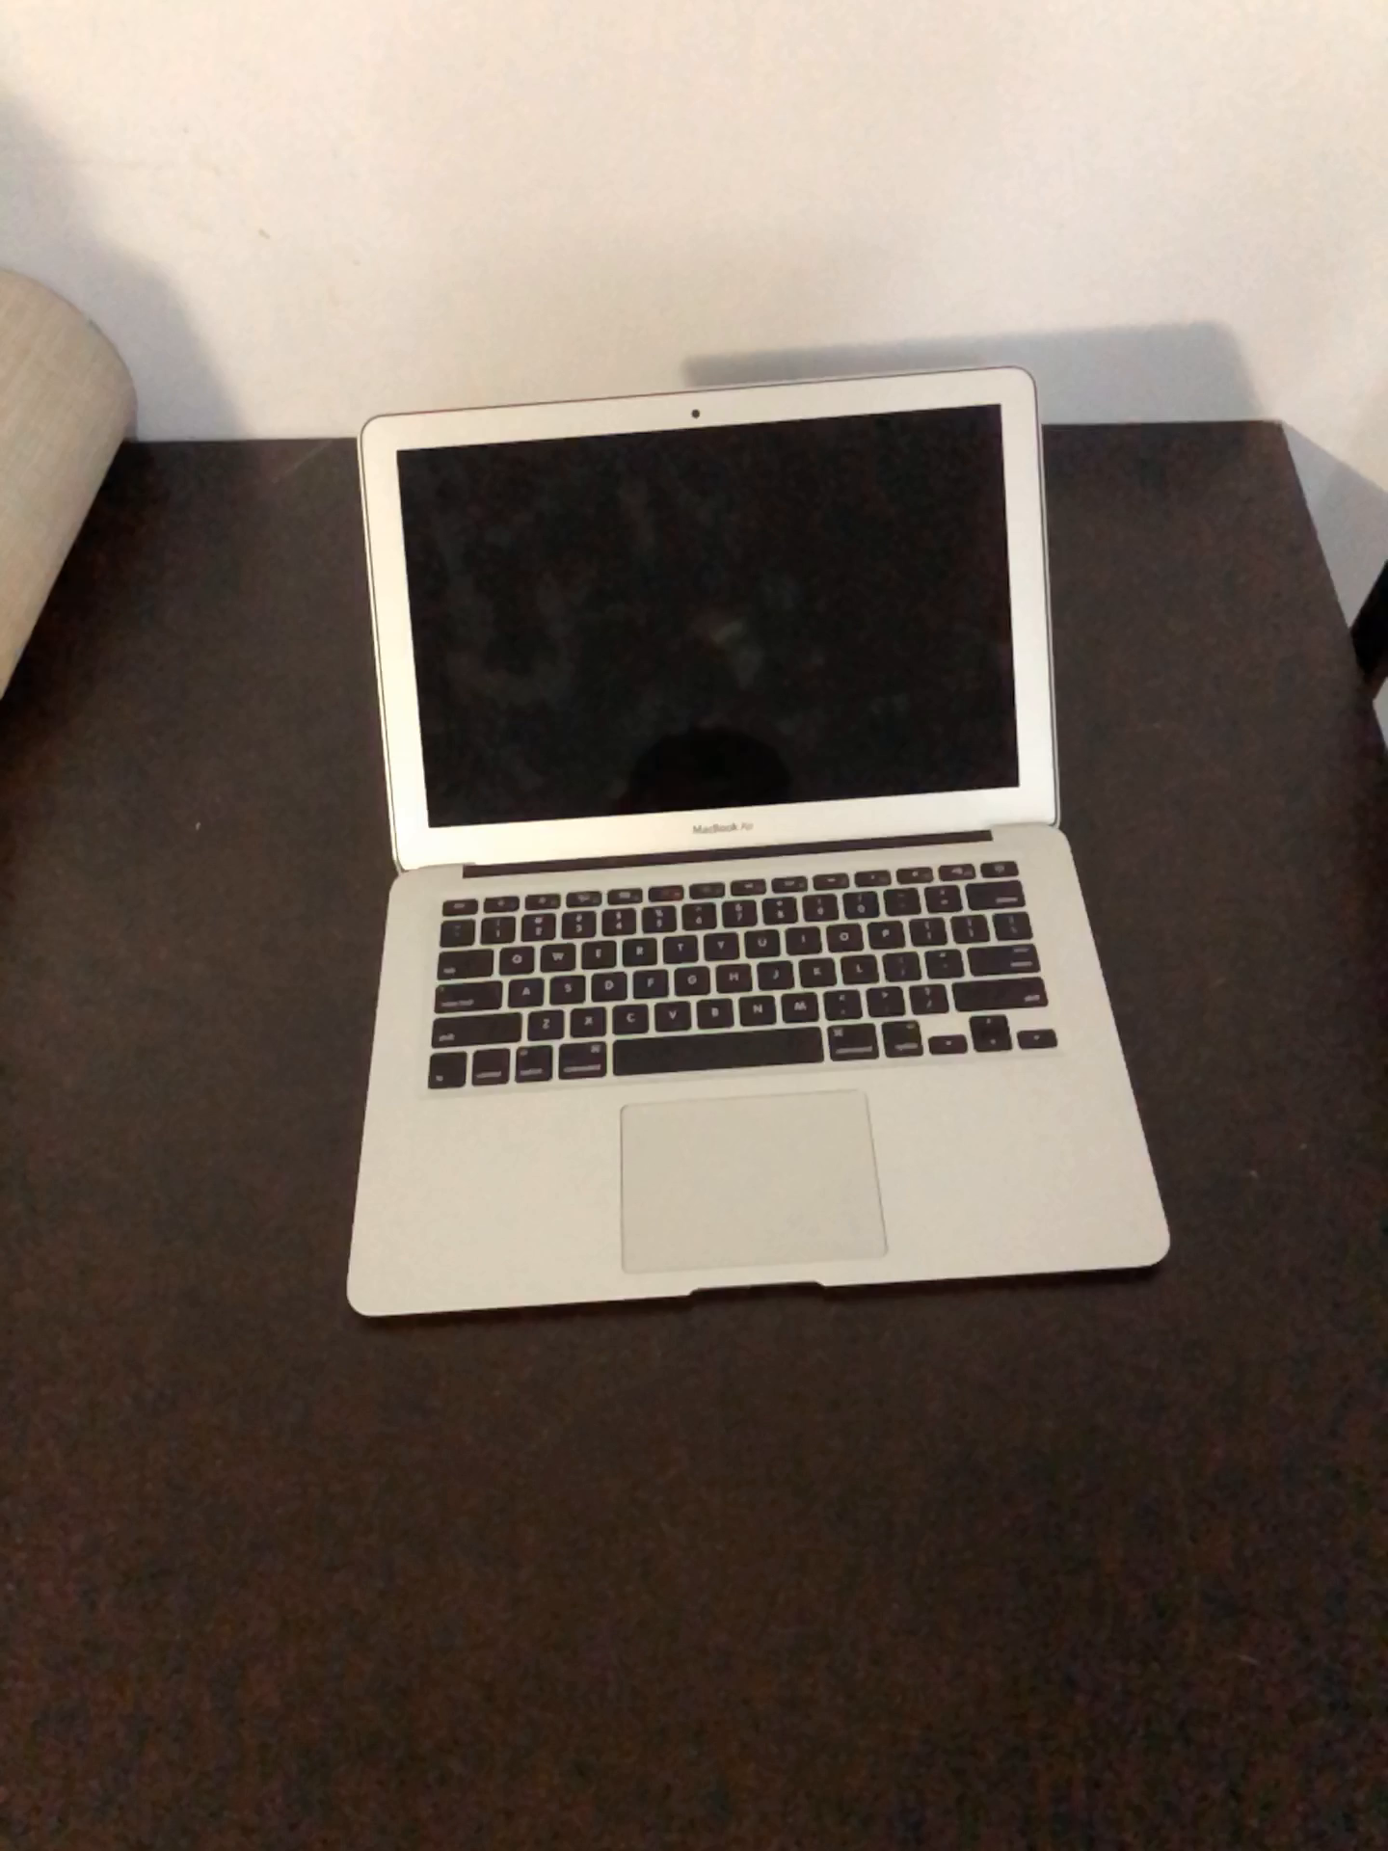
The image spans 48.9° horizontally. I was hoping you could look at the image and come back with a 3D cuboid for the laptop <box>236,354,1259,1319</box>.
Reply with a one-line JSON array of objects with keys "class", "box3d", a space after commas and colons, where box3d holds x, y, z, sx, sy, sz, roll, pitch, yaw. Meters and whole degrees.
[{"class": "laptop", "box3d": [0.013, -0.054, 0.614, 0.303, 0.136, 0.362, -4, 51, 2]}]
